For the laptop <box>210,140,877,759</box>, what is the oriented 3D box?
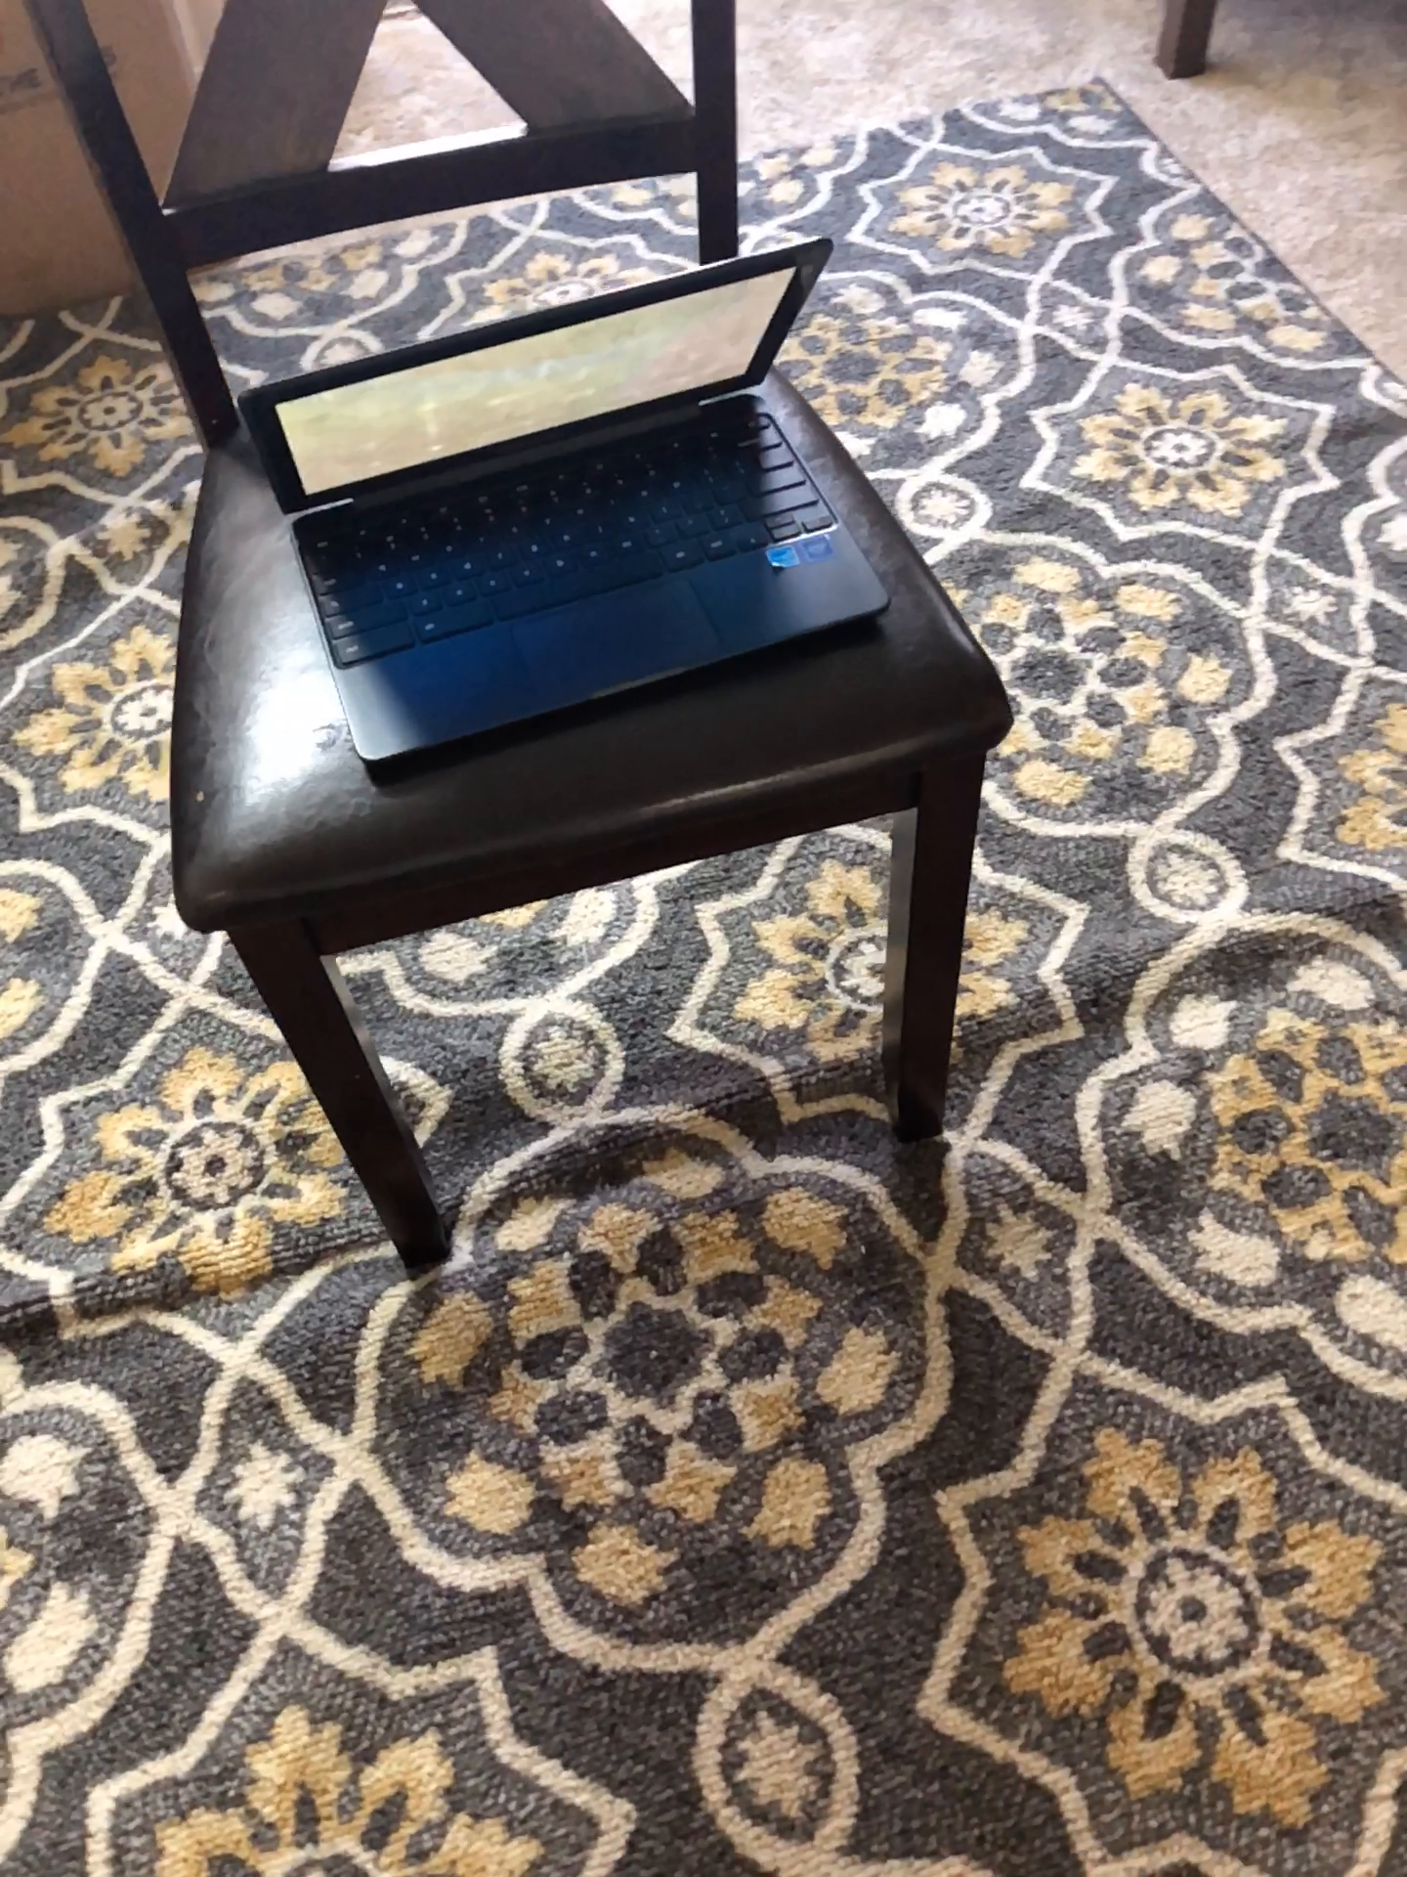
[{"bbox_3d":[-0.076,-0.245,0.764,0.263,0.155,0.192,-17,54,-10],"label":"laptop"}]
